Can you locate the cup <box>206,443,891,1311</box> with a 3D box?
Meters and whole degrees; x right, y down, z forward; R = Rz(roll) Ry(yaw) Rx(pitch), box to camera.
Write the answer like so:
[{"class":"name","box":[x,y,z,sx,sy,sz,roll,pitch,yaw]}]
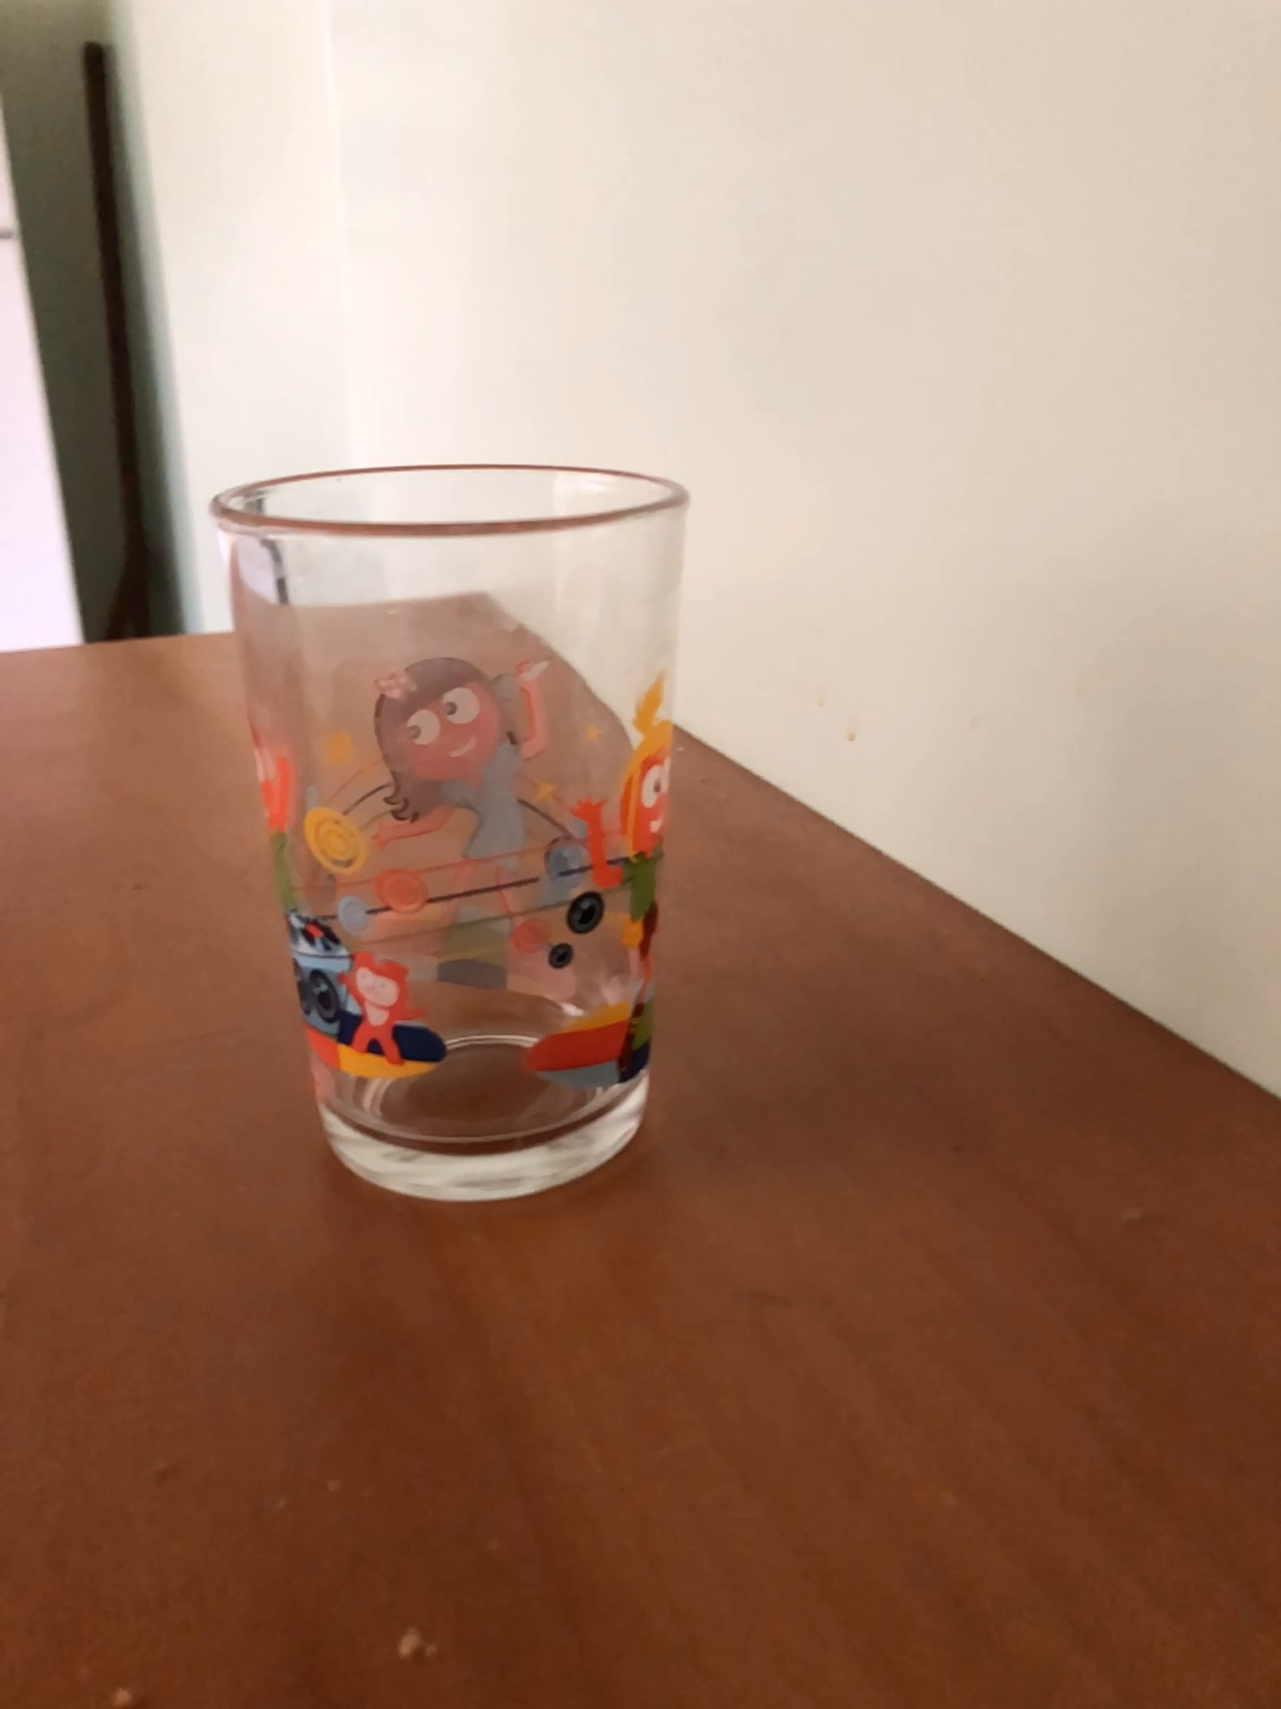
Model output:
[{"class":"cup","box":[-0.015,-0.005,0.210,0.070,0.100,0.070,0,21,0]}]
